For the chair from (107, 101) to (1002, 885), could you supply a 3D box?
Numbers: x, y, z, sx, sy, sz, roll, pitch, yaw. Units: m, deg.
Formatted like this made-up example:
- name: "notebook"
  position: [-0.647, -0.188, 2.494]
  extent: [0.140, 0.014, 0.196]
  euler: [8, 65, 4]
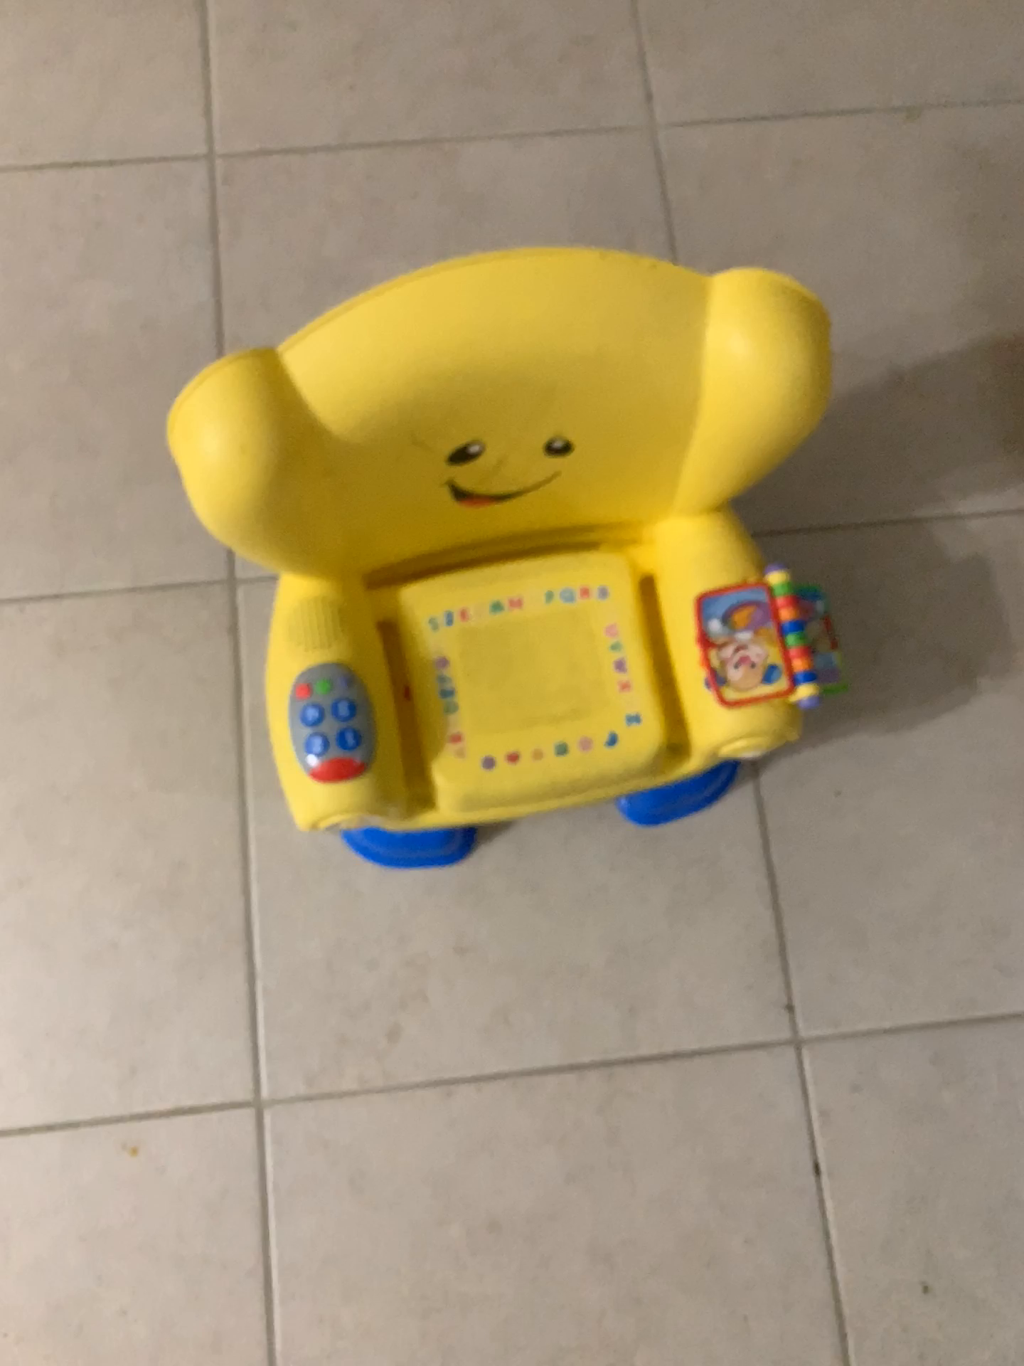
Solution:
- name: "chair"
  position: [0.004, -0.076, 0.804]
  extent: [0.420, 0.489, 0.371]
  euler: [-9, 78, -4]
